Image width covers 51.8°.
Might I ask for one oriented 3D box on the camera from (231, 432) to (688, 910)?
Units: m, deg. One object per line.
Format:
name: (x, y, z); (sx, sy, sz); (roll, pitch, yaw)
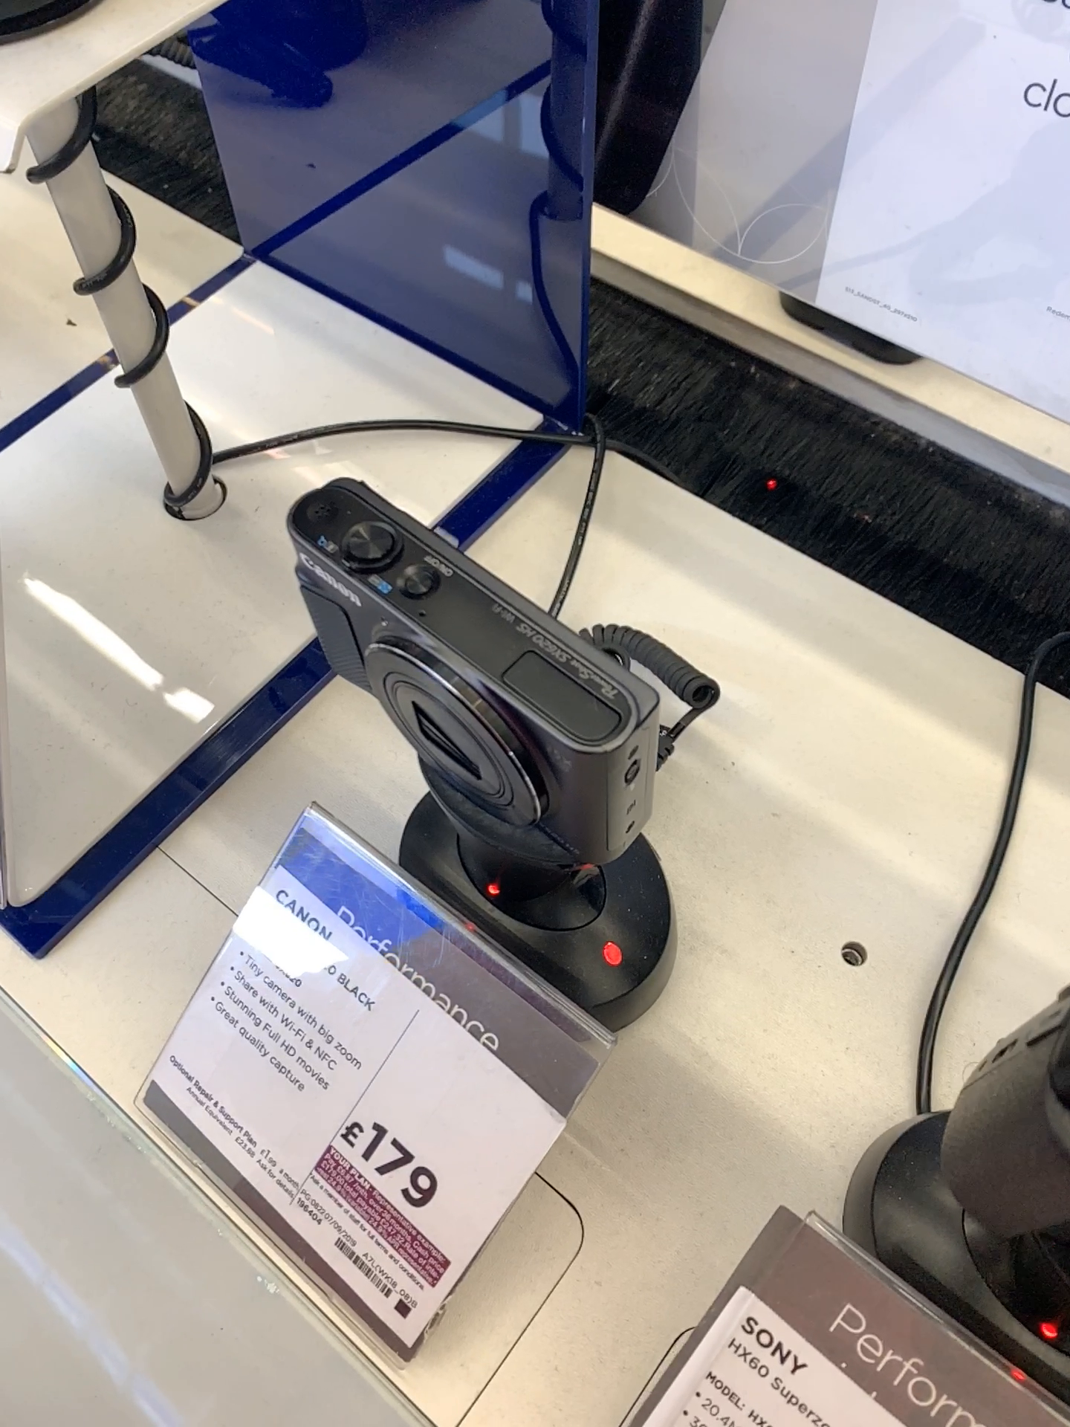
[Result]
camera: (-0.015, -0.008, 0.232); (0.090, 0.060, 0.030); (36, 67, 22)
